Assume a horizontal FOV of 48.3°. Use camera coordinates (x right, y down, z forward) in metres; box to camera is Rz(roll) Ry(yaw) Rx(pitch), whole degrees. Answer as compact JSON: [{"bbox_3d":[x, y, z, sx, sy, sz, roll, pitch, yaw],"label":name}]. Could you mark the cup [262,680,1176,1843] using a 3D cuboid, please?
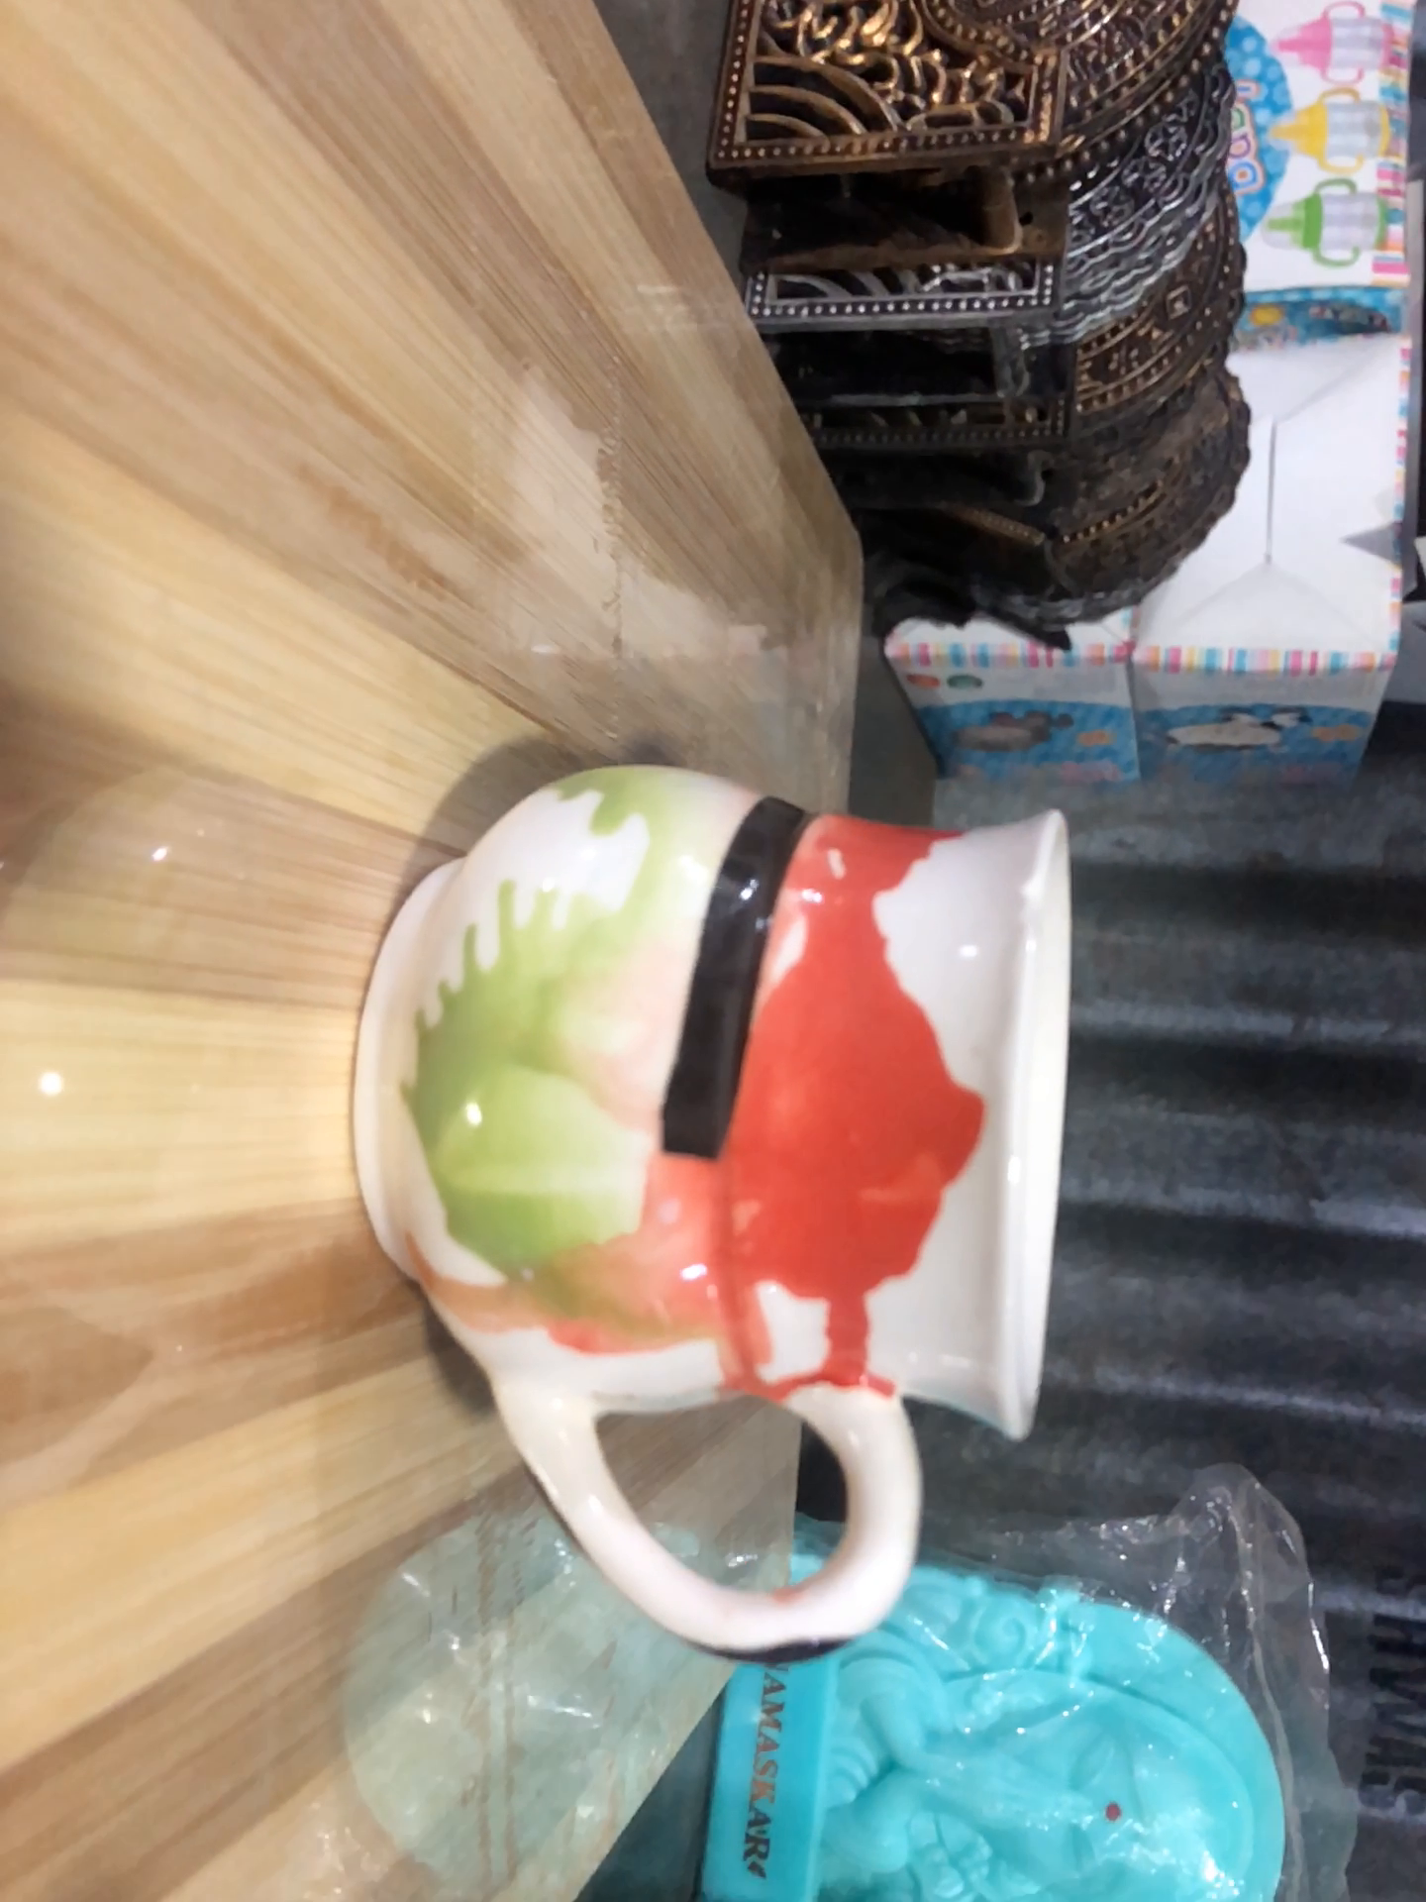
[{"bbox_3d":[0.007,0.027,0.164,0.060,0.070,0.090,41,54,-74],"label":"cup"}]
